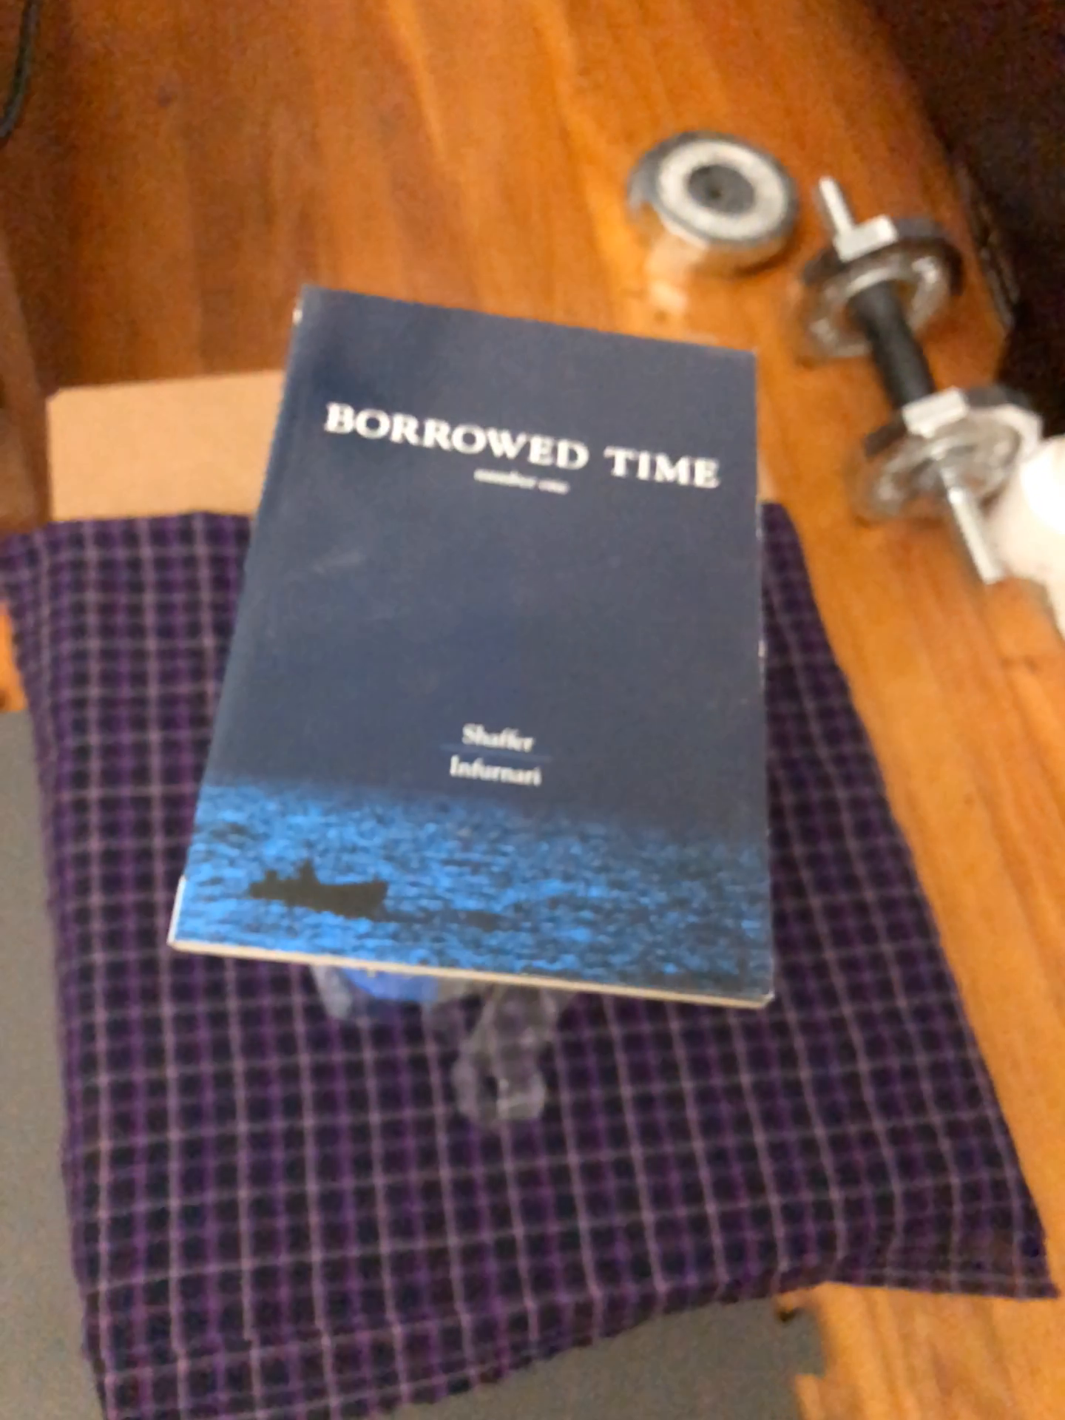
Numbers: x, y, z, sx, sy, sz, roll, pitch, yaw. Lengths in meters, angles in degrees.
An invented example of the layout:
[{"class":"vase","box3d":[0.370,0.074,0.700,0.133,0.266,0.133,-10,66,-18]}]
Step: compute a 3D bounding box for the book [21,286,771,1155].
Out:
[{"class":"book","box3d":[-0.018,-0.013,0.316,0.160,0.010,0.231,8,60,-5]}]
